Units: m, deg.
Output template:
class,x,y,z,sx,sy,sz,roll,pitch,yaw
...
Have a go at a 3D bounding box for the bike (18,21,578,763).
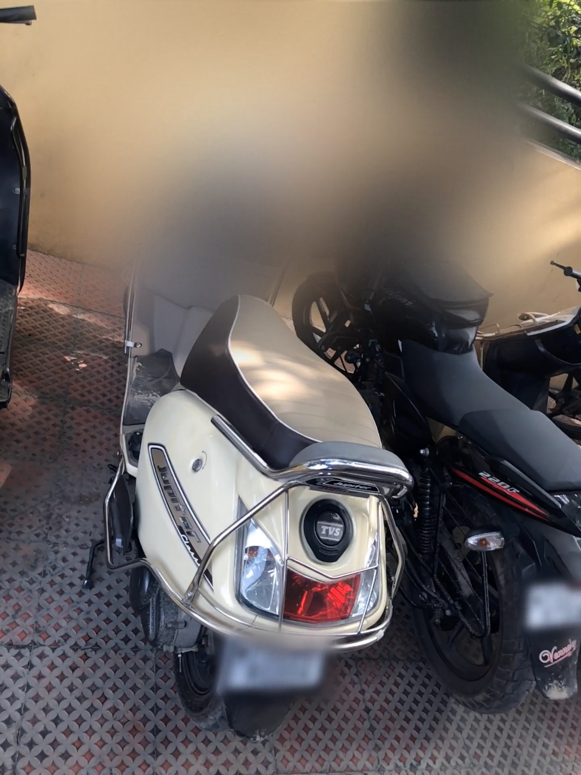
class,x,y,z,sx,sy,sz,roll,pitch,yaw
bike,-0.287,-0.106,1.692,0.645,0.999,1.632,7,38,-29
